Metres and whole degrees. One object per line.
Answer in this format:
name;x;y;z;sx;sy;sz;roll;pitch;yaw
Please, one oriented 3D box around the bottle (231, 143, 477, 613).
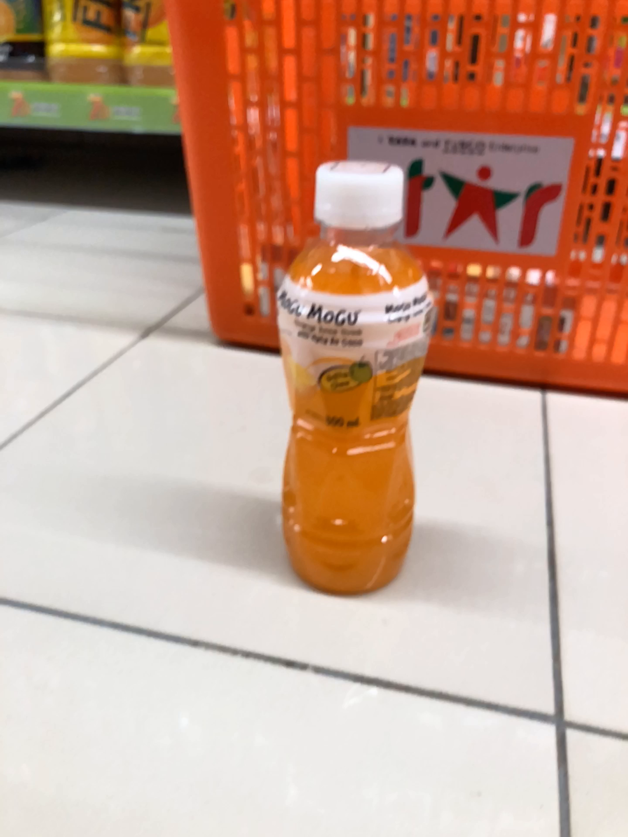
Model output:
bottle;0.015;-0.016;0.274;0.060;0.159;0.066;0;28;0
